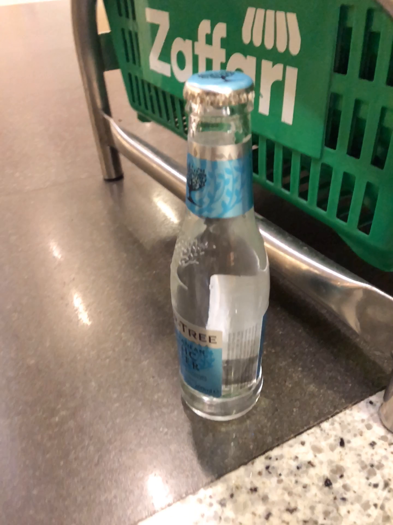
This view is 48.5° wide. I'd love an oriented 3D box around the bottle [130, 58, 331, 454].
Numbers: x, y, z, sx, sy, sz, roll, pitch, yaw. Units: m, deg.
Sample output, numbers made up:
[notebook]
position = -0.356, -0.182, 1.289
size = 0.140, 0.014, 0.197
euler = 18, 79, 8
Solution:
[bottle]
position = 0.015, 0.008, 0.220
size = 0.050, 0.188, 0.060
euler = -22, 40, -23
